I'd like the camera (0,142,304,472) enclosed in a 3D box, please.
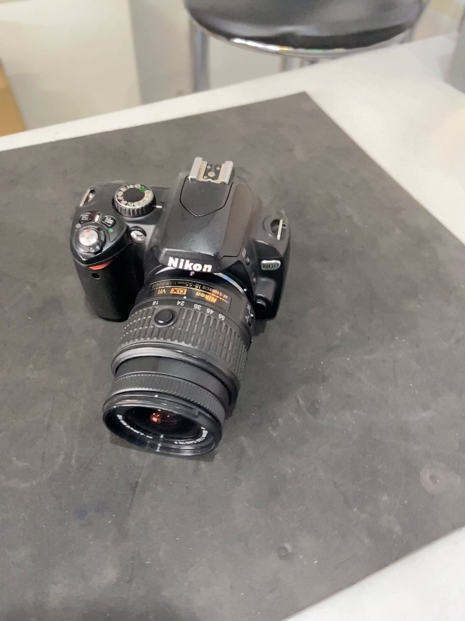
[{"bbox_3d":[-0.035,-0.006,0.263,0.129,0.088,0.141,7,53,5],"label":"camera"}]
